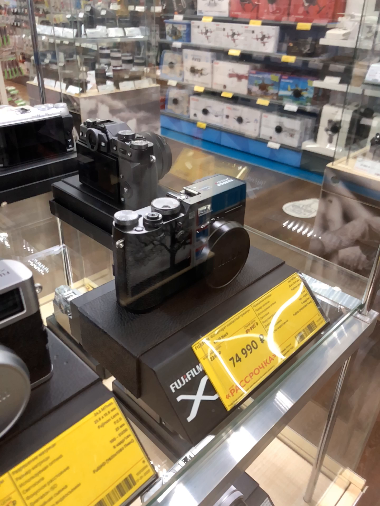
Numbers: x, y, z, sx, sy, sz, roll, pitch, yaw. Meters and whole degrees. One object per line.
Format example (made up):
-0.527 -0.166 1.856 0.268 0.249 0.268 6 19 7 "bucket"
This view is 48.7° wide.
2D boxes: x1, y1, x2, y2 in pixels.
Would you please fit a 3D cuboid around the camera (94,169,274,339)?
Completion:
0.000 -0.007 0.325 0.054 0.075 0.131 27 39 36 "camera"

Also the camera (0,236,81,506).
-0.128 0.058 0.200 0.054 0.080 0.131 27 39 36 "camera"

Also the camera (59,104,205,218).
-0.067 -0.115 0.490 0.131 0.080 0.104 28 39 36 "camera"
